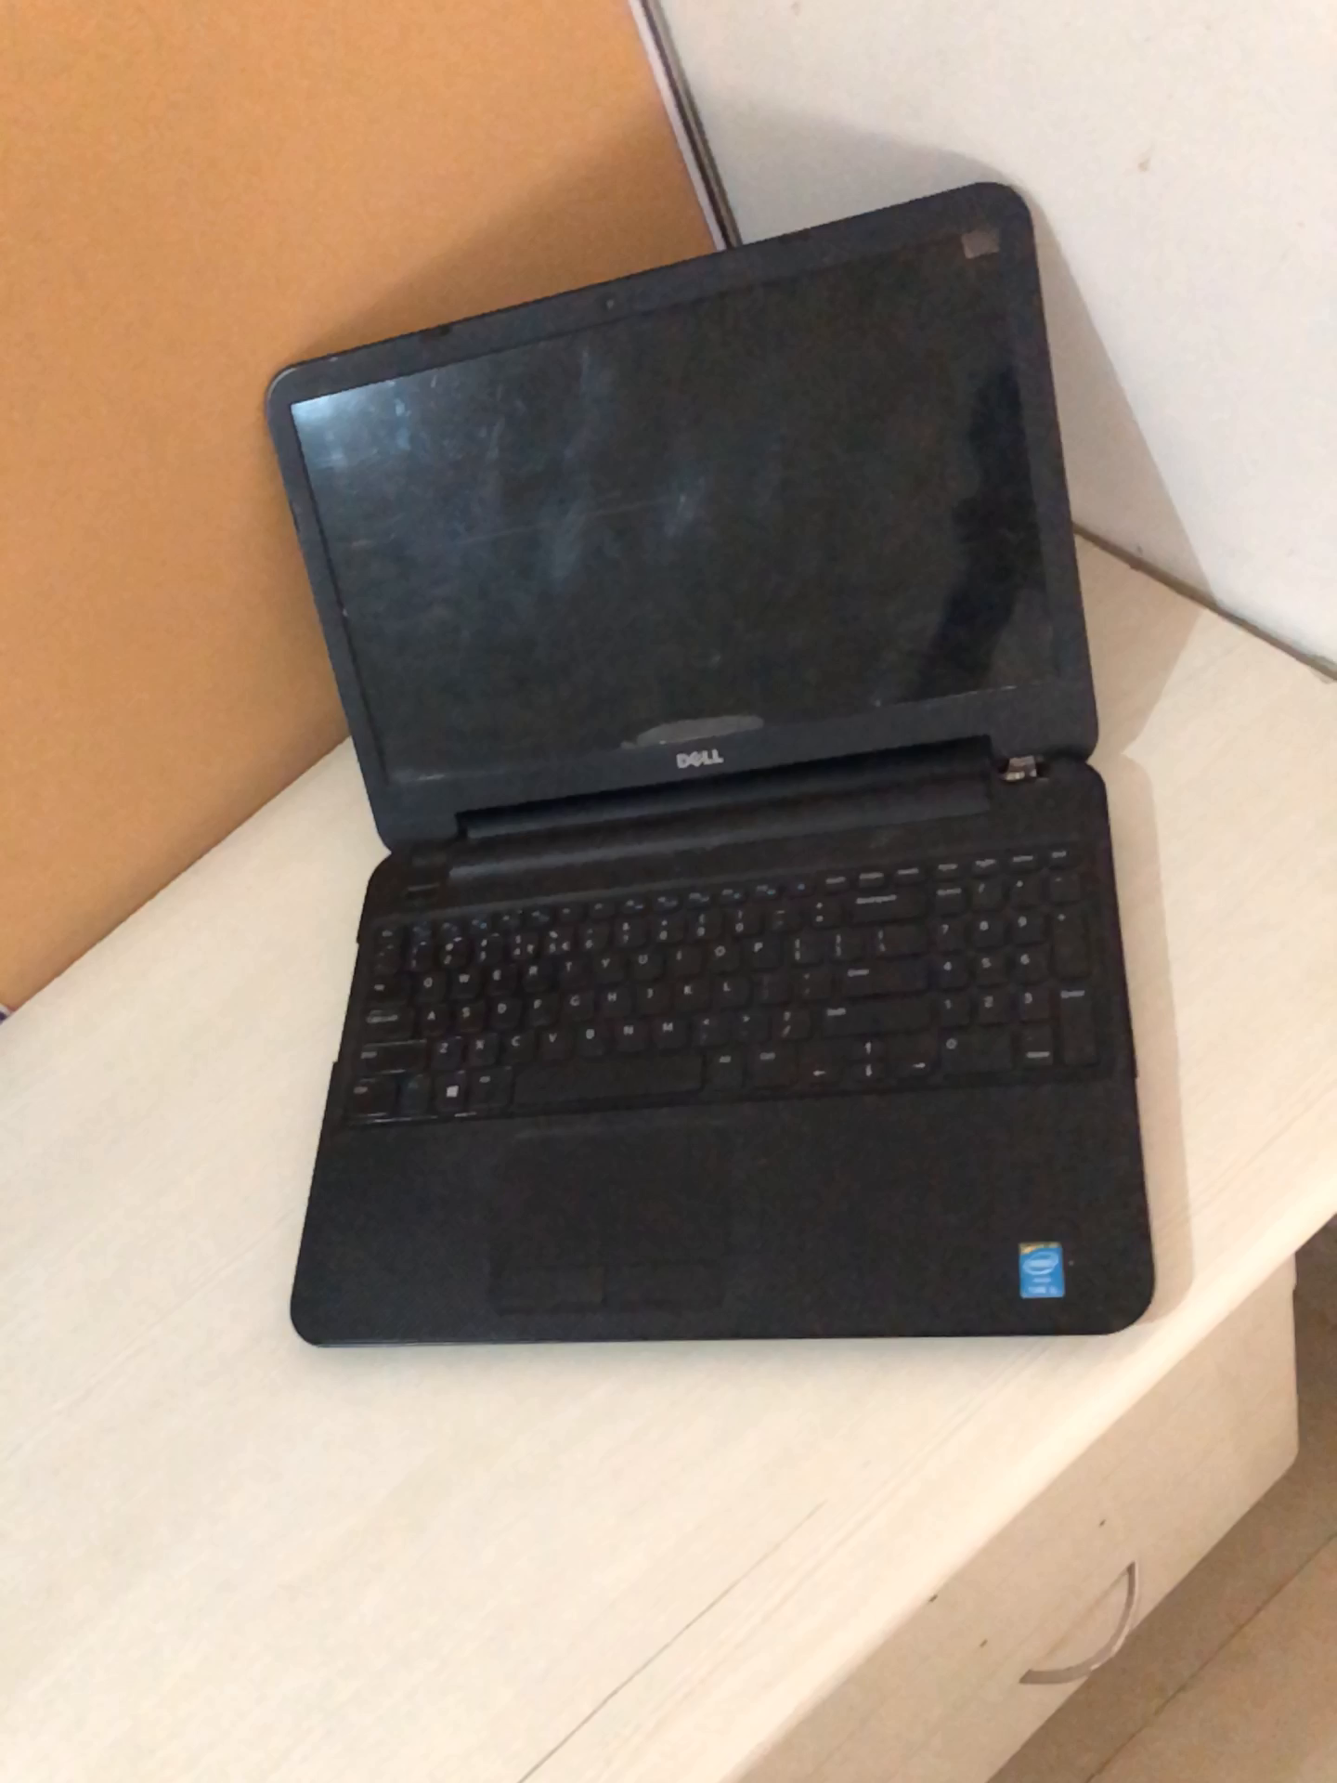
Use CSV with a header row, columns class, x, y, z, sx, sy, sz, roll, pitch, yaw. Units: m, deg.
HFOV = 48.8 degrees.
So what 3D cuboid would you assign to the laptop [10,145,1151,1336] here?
class,x,y,z,sx,sy,sz,roll,pitch,yaw
laptop,-0.013,-0.054,0.607,0.353,0.175,0.414,-7,58,19
